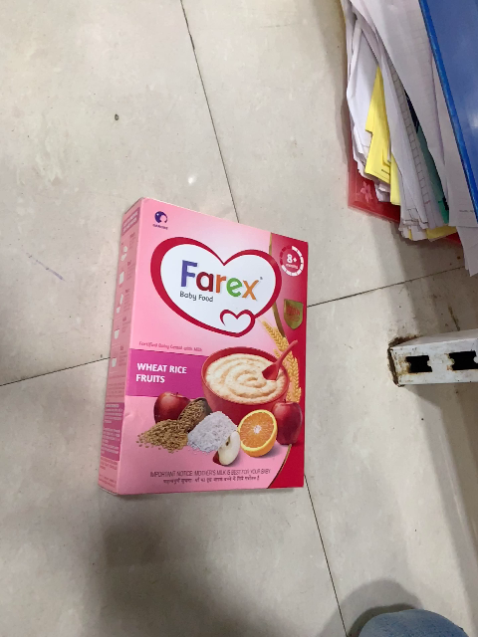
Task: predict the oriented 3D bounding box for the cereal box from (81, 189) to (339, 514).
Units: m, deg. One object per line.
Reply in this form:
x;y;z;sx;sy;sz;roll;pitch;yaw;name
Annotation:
-0.010;0.028;0.349;0.170;0.050;0.190;9;78;-31;cereal box
